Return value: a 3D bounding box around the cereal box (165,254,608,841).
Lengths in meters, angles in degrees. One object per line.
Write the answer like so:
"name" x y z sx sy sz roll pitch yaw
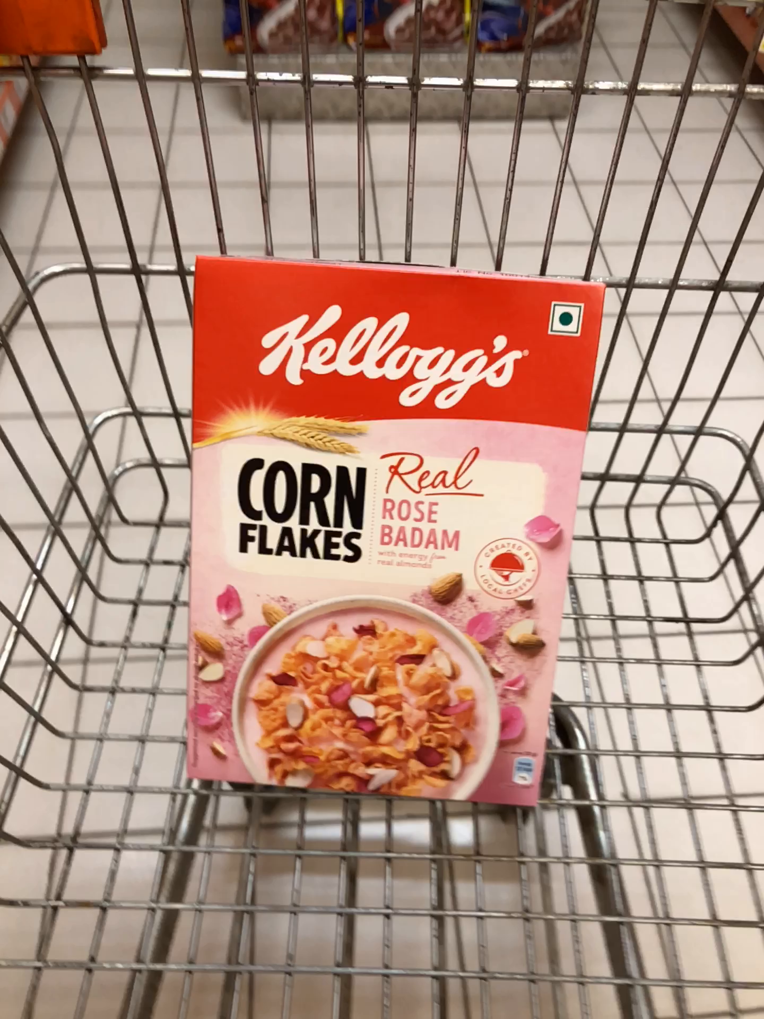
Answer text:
"cereal box" -0.005 0.017 0.418 0.180 0.259 0.080 4 14 1
